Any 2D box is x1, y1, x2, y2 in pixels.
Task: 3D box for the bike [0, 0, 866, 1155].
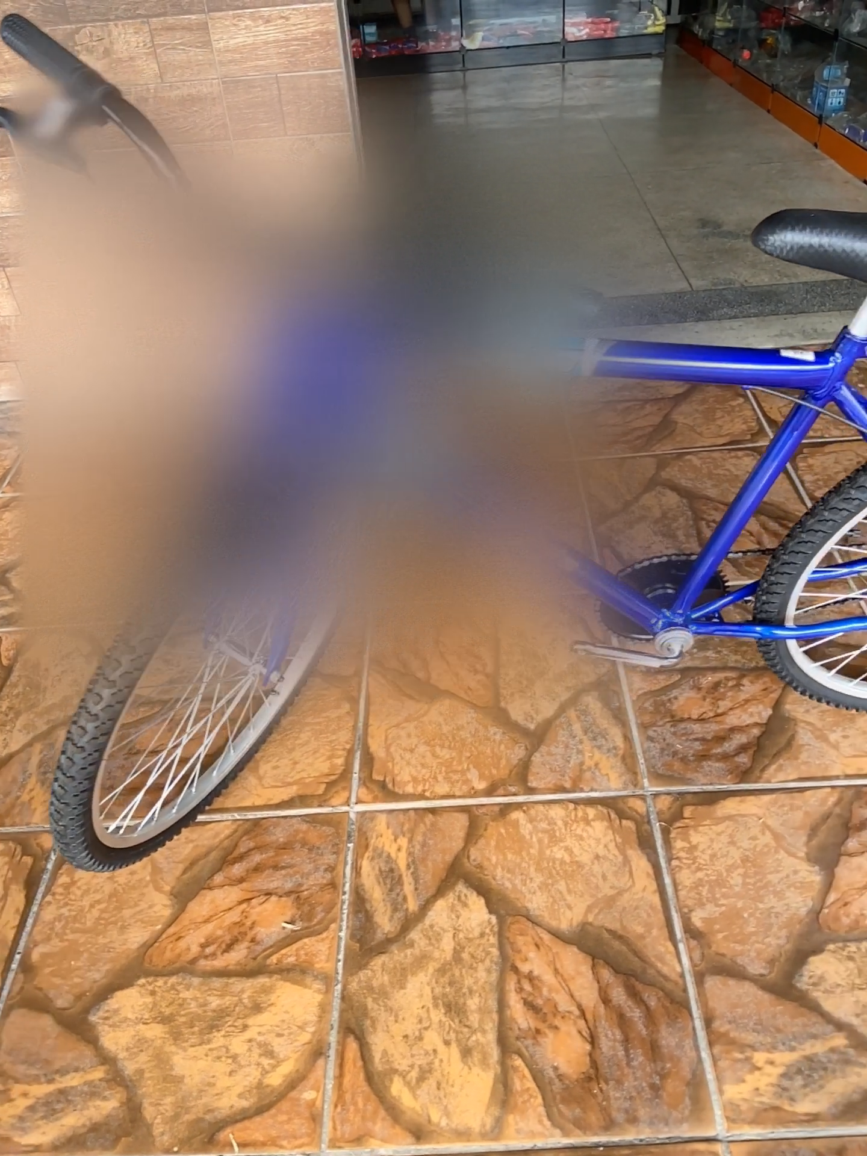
[{"bbox_3d":[0.293,0.064,0.939,1.525,1.013,0.575,-14,39,-5],"label":"bike"}]
